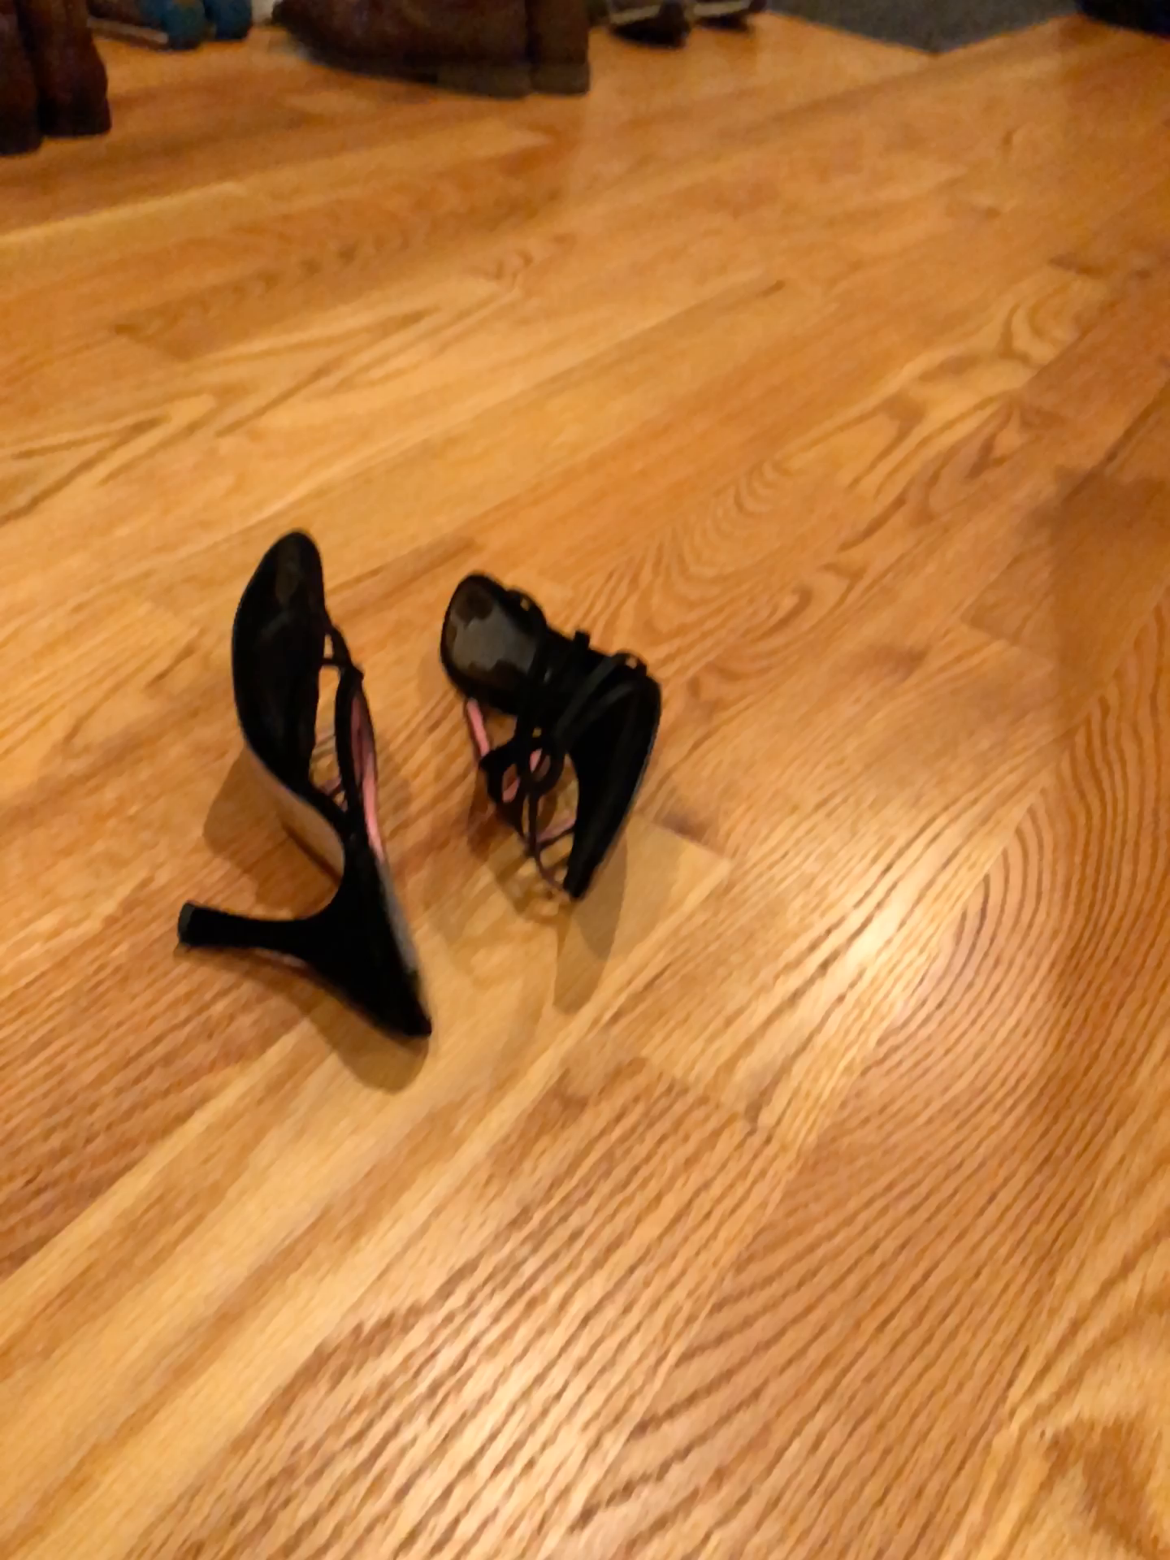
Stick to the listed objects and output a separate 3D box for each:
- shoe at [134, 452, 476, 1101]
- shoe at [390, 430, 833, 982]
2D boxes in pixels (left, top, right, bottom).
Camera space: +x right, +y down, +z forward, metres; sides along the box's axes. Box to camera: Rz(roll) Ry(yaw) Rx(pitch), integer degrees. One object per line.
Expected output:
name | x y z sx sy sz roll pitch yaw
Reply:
shoe | -0.112 -0.017 0.473 0.082 0.104 0.236 -5 41 -19
shoe | -0.005 -0.042 0.523 0.102 0.104 0.216 -8 42 -18
